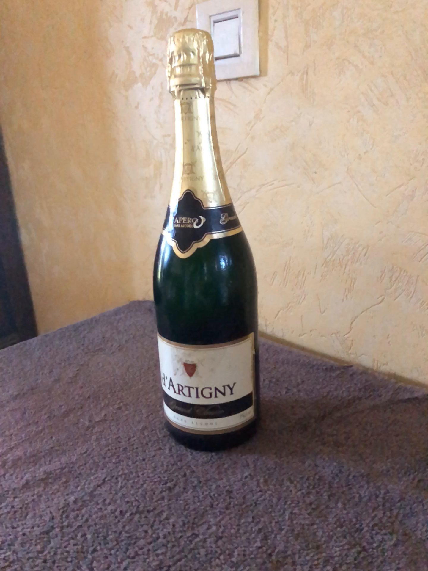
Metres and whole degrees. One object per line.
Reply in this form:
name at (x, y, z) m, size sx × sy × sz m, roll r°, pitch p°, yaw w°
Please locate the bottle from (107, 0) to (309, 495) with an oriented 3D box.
bottle at (0.009, -0.020, 0.357) m, size 0.100 × 0.319 × 0.101 m, roll -3°, pitch 17°, yaw 1°
